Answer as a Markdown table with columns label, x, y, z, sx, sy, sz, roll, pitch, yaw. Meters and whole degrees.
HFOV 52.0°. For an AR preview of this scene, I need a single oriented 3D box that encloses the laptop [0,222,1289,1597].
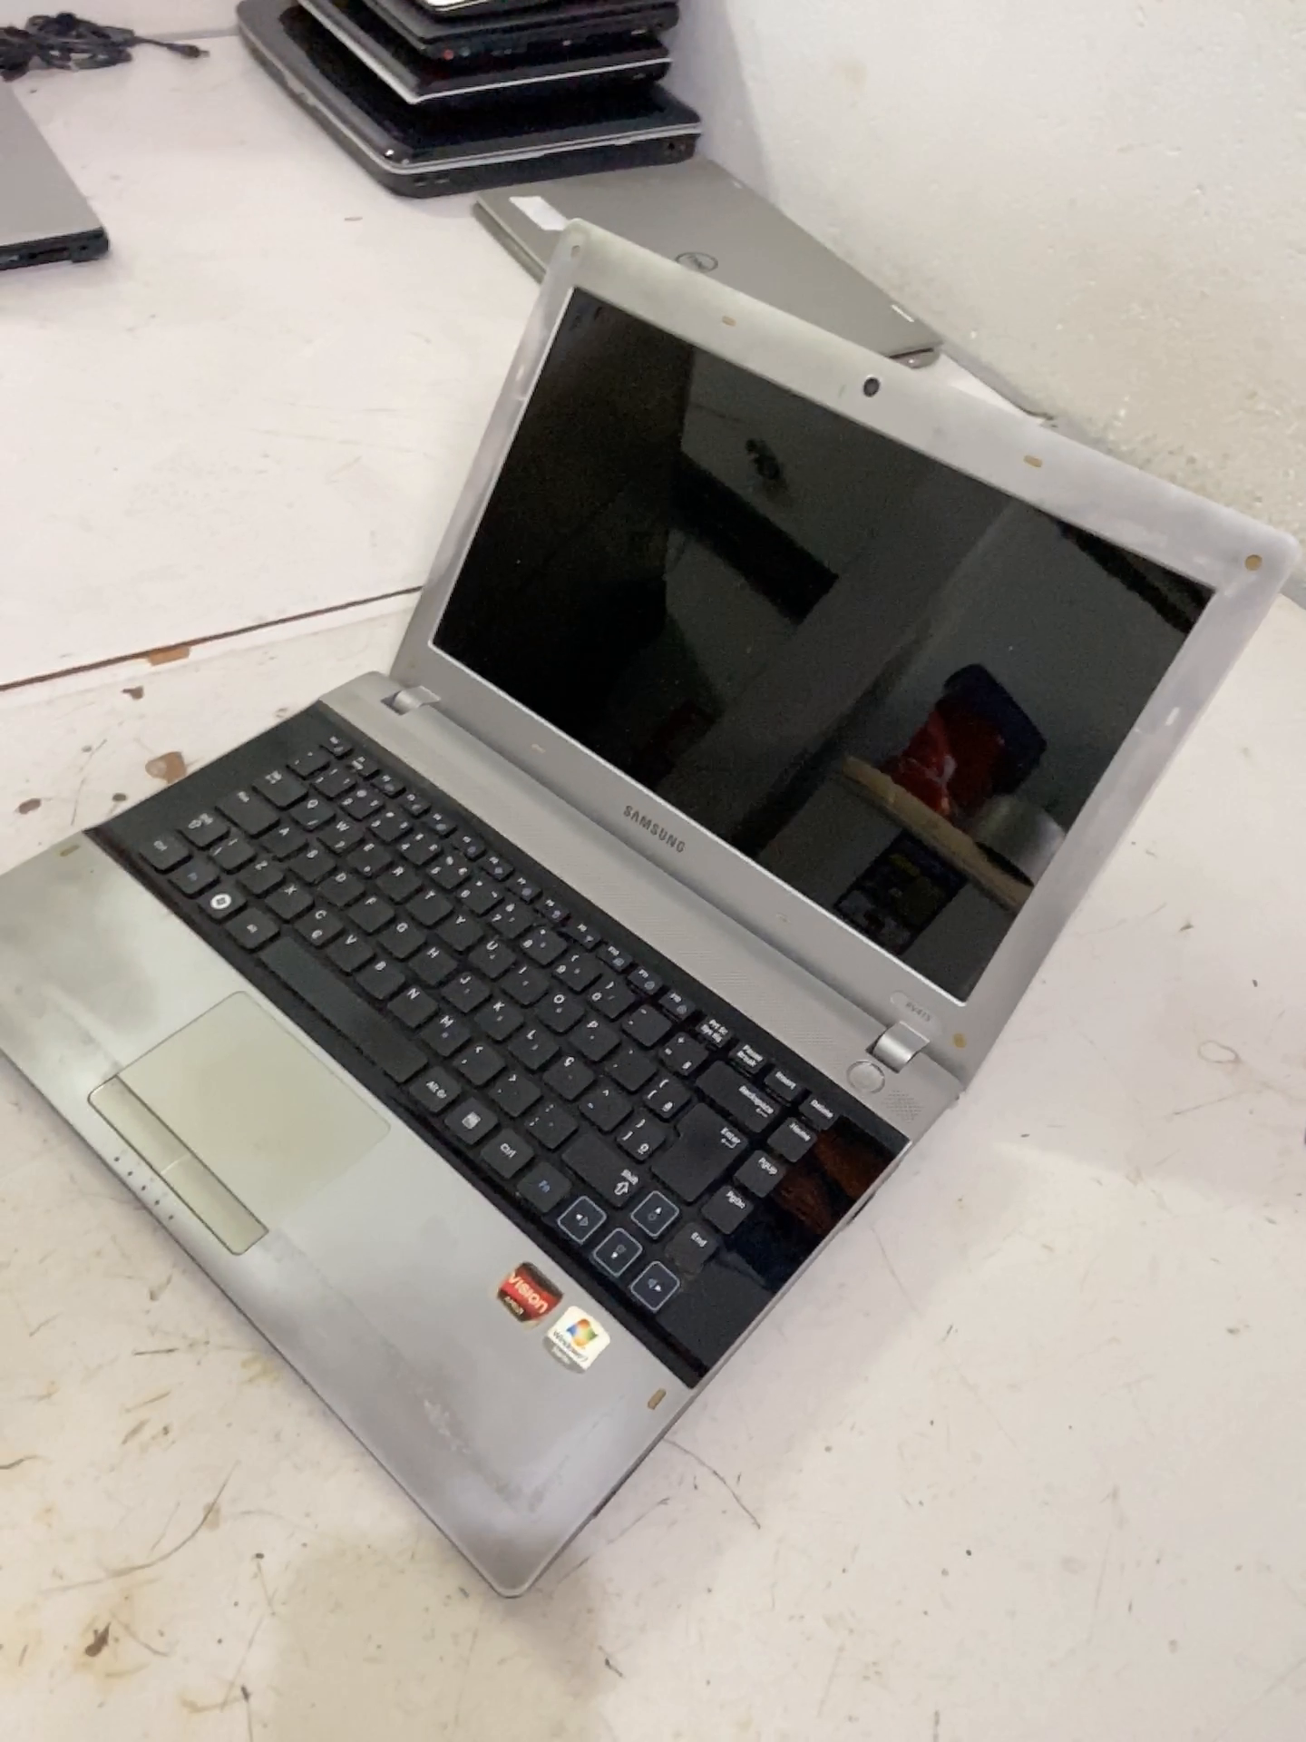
| label | x | y | z | sx | sy | sz | roll | pitch | yaw |
| --- | --- | --- | --- | --- | --- | --- | --- | --- | --- |
| laptop | -0.041 | -0.041 | 0.486 | 0.342 | 0.180 | 0.368 | 35 | 54 | 25 |
